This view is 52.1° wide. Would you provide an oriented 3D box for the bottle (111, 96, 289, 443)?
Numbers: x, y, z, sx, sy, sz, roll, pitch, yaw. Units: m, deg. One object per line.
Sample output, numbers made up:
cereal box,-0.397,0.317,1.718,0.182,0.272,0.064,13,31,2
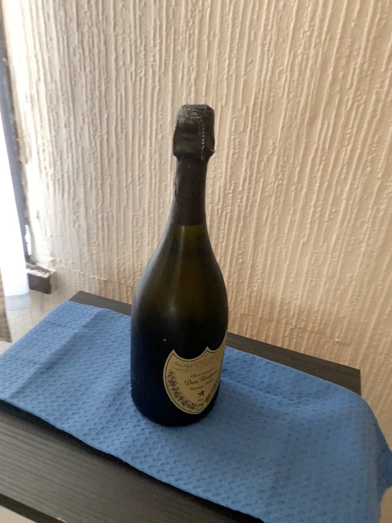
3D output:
bottle,-0.012,0.013,0.376,0.100,0.297,0.101,4,29,-2
